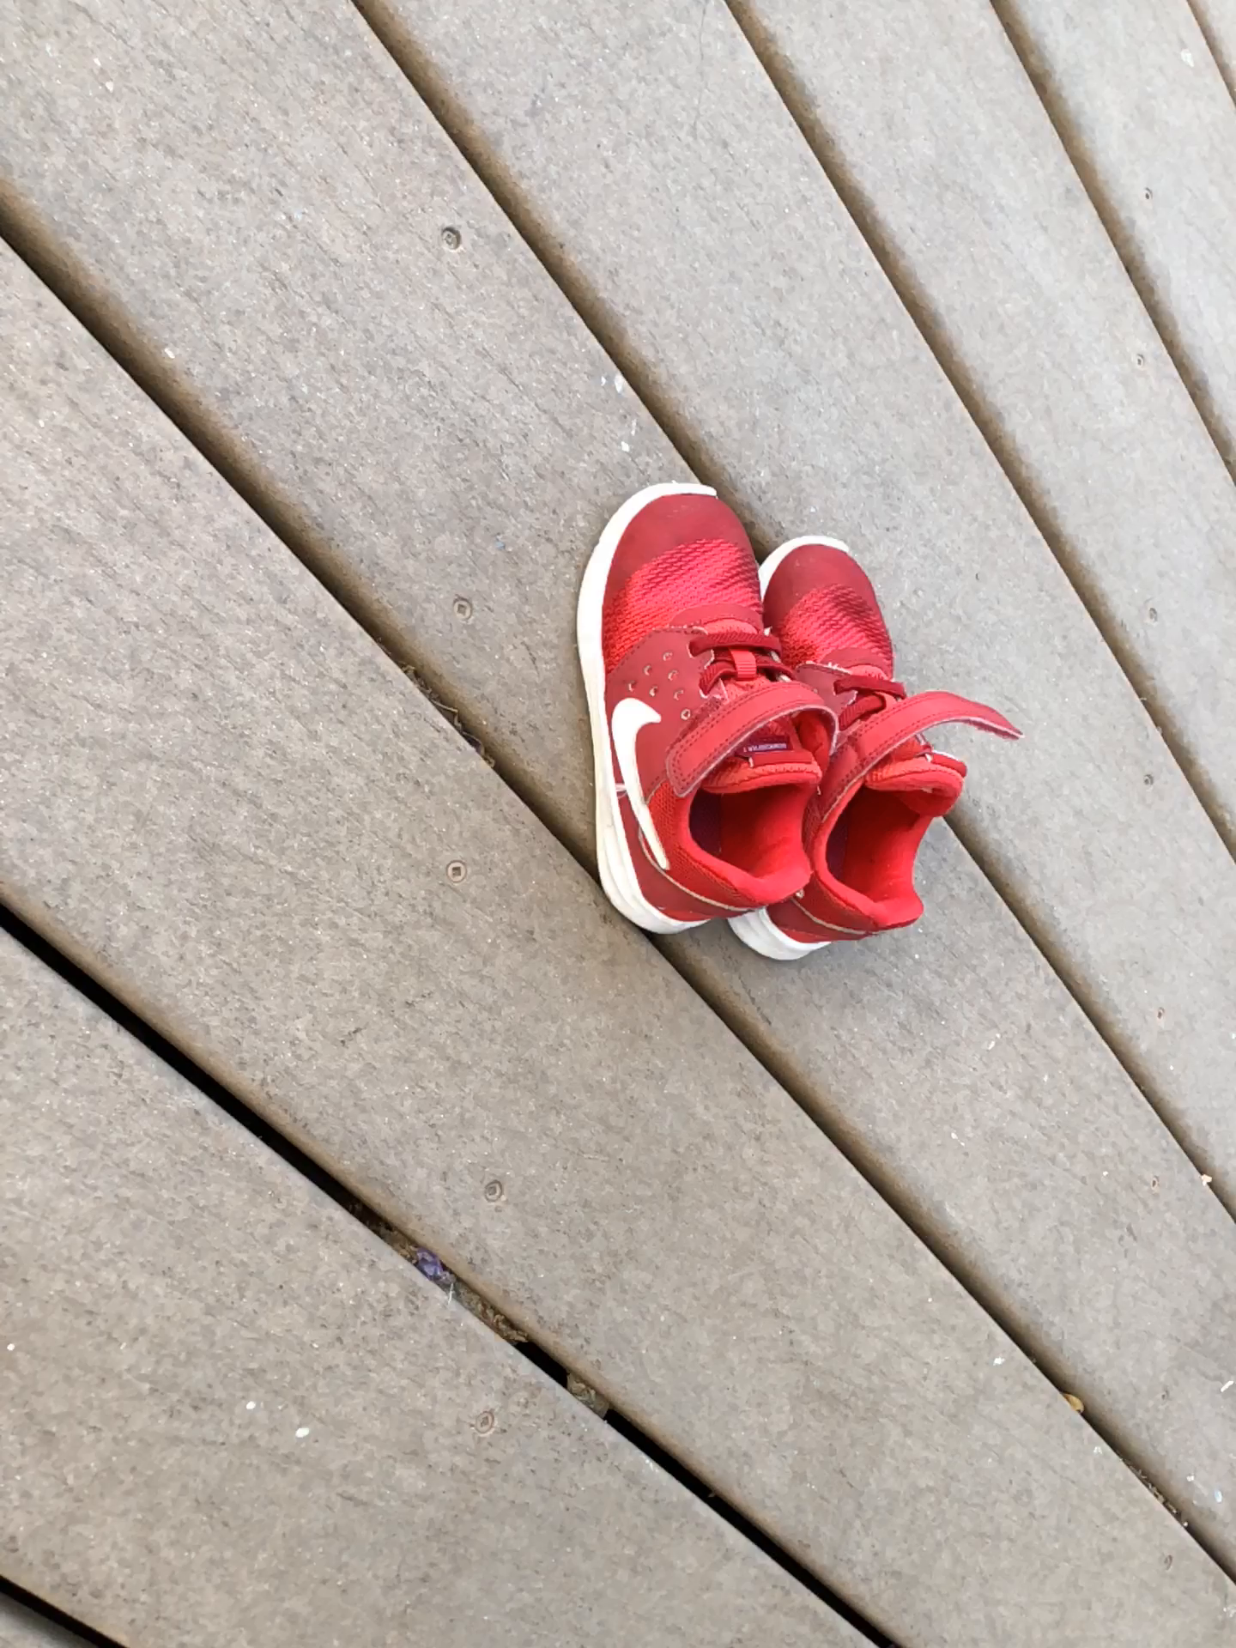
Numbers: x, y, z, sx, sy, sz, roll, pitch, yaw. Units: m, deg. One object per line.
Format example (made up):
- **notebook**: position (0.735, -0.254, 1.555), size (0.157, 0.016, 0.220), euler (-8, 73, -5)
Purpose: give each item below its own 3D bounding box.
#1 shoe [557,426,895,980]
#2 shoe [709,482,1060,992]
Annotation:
- **shoe**: position (0.036, -0.037, 0.469), size (0.078, 0.087, 0.167), euler (-1, 91, -36)
- **shoe**: position (0.097, -0.027, 0.504), size (0.078, 0.087, 0.167), euler (6, 87, -36)
